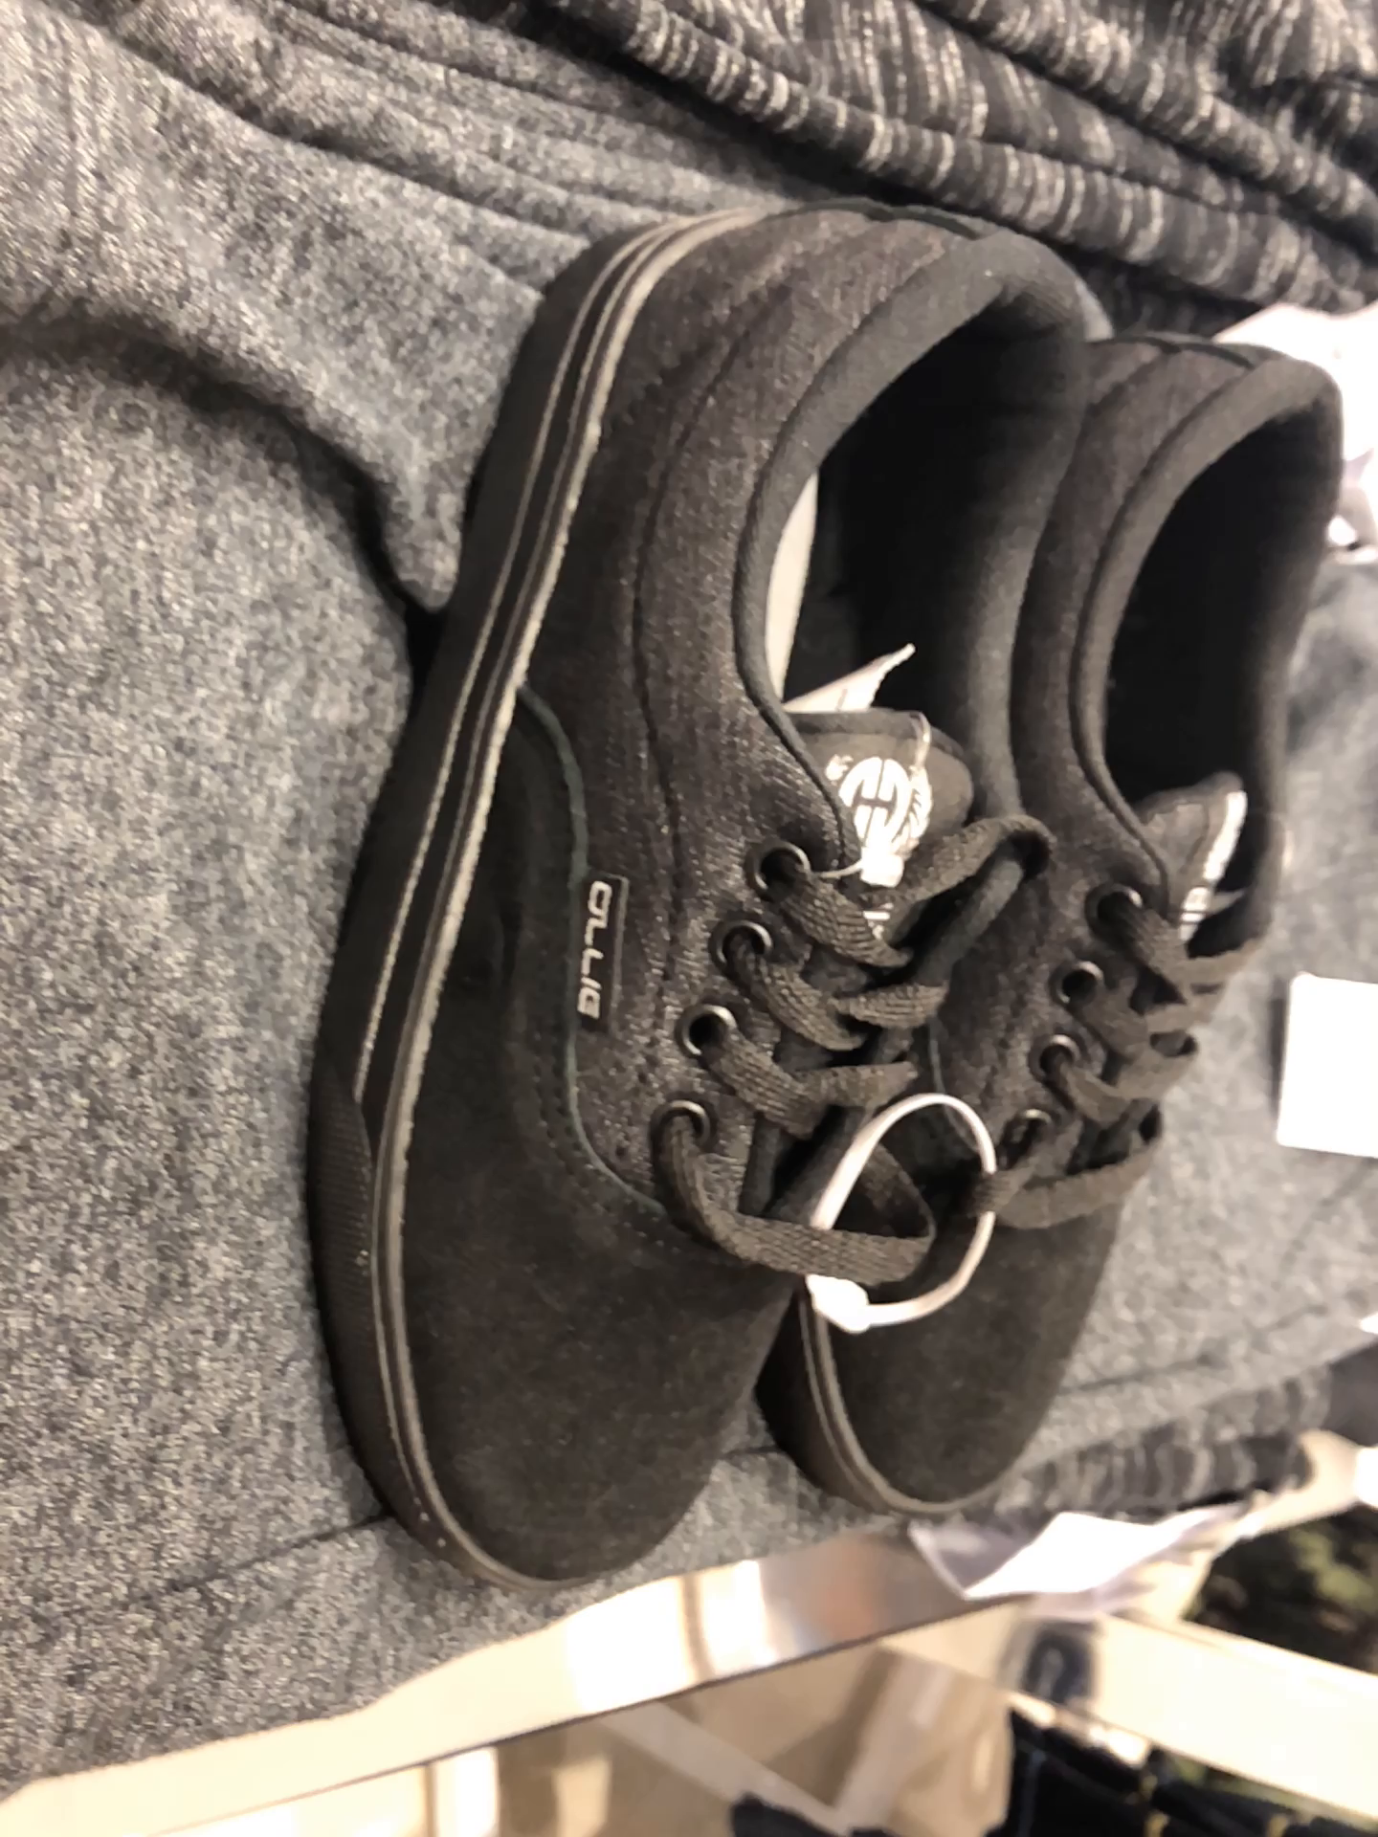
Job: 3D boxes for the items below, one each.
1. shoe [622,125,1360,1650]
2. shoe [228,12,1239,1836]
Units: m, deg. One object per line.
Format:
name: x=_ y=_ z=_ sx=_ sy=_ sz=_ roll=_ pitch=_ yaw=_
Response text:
shoe: x=0.060 y=-0.004 z=0.302 sx=0.091 sy=0.080 sz=0.240 roll=8 pitch=88 yaw=-43
shoe: x=0.010 y=0.006 z=0.235 sx=0.091 sy=0.080 sz=0.220 roll=13 pitch=84 yaw=-42
